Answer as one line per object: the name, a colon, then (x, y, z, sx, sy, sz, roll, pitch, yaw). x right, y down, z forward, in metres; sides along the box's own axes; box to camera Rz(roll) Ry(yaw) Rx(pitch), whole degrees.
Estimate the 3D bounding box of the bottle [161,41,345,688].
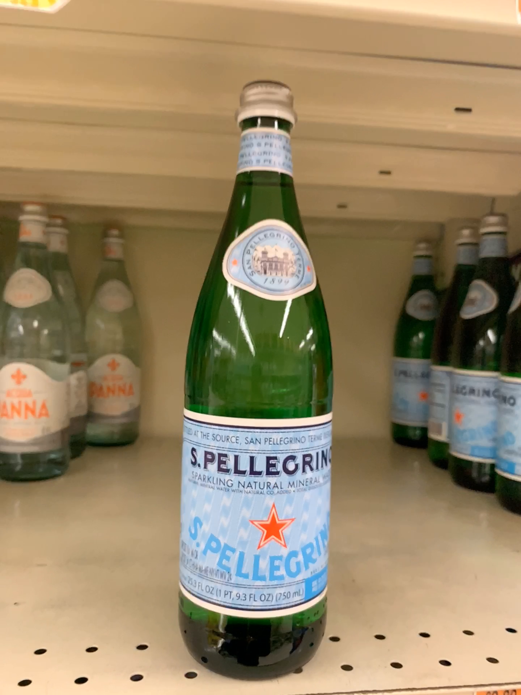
bottle: (-0.005, 0.011, 0.288, 0.078, 0.302, 0.065, 2, 3, 0)
